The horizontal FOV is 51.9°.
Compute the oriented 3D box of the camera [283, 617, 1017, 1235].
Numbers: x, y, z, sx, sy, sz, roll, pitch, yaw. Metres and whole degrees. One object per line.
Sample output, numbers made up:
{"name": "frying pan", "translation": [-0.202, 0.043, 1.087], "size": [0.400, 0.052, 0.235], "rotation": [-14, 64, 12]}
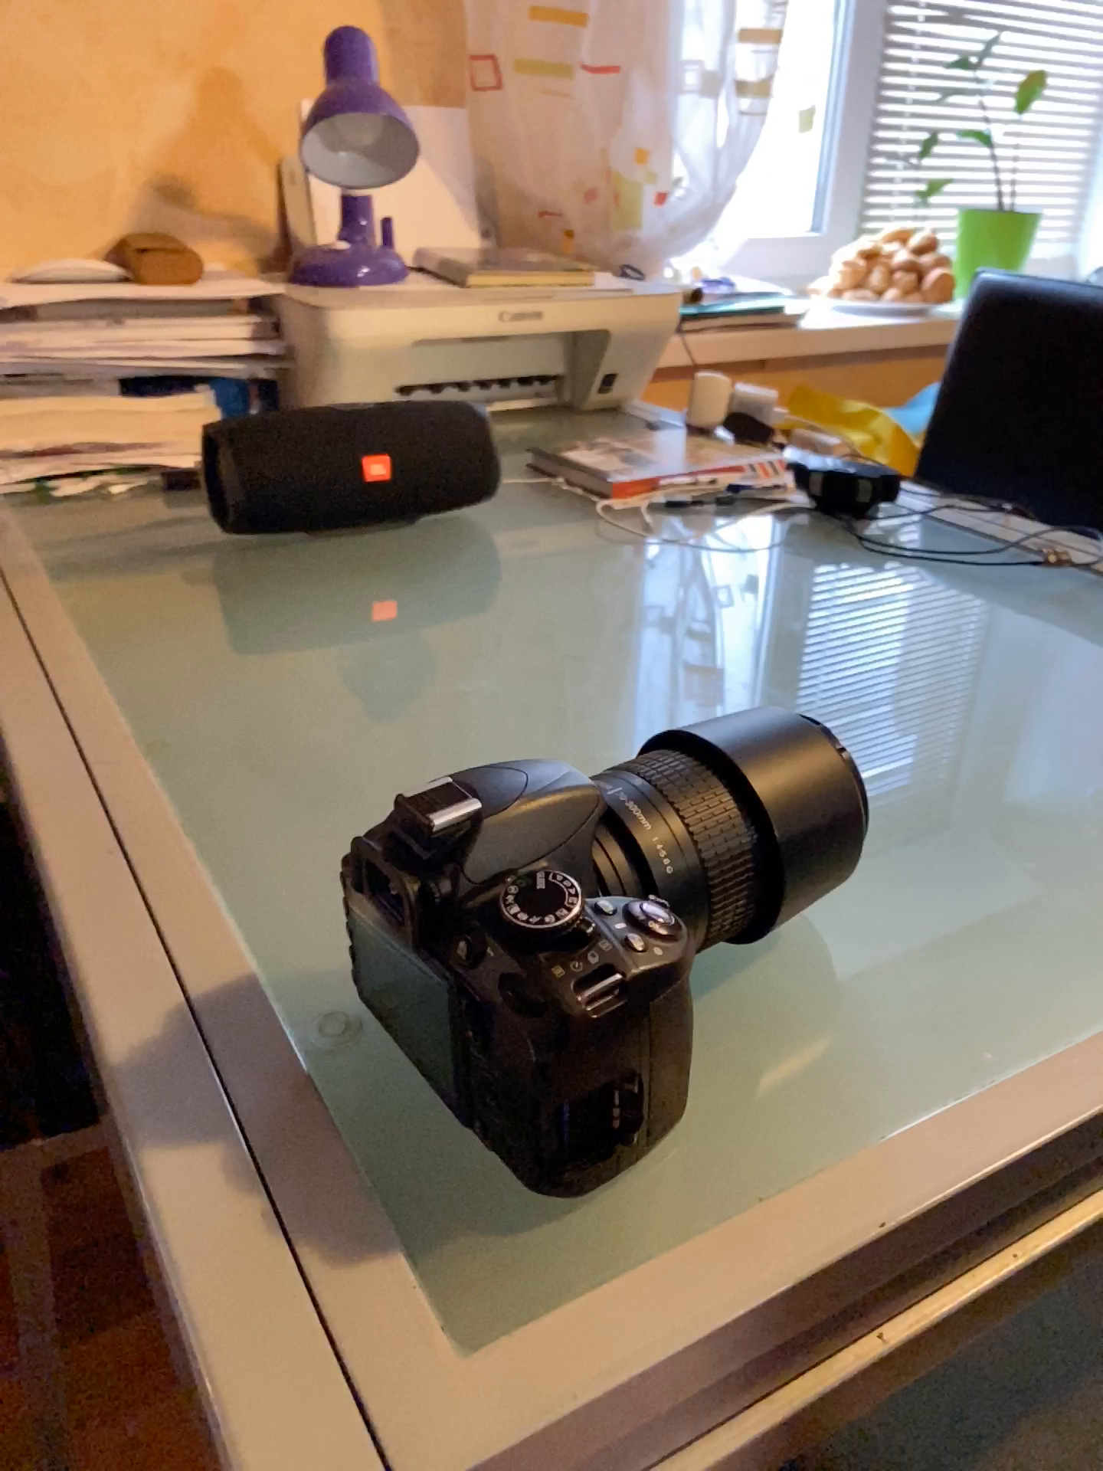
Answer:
{"name": "camera", "translation": [0.034, 0.045, 0.402], "size": [0.209, 0.099, 0.135], "rotation": [-17, 32, -32]}
